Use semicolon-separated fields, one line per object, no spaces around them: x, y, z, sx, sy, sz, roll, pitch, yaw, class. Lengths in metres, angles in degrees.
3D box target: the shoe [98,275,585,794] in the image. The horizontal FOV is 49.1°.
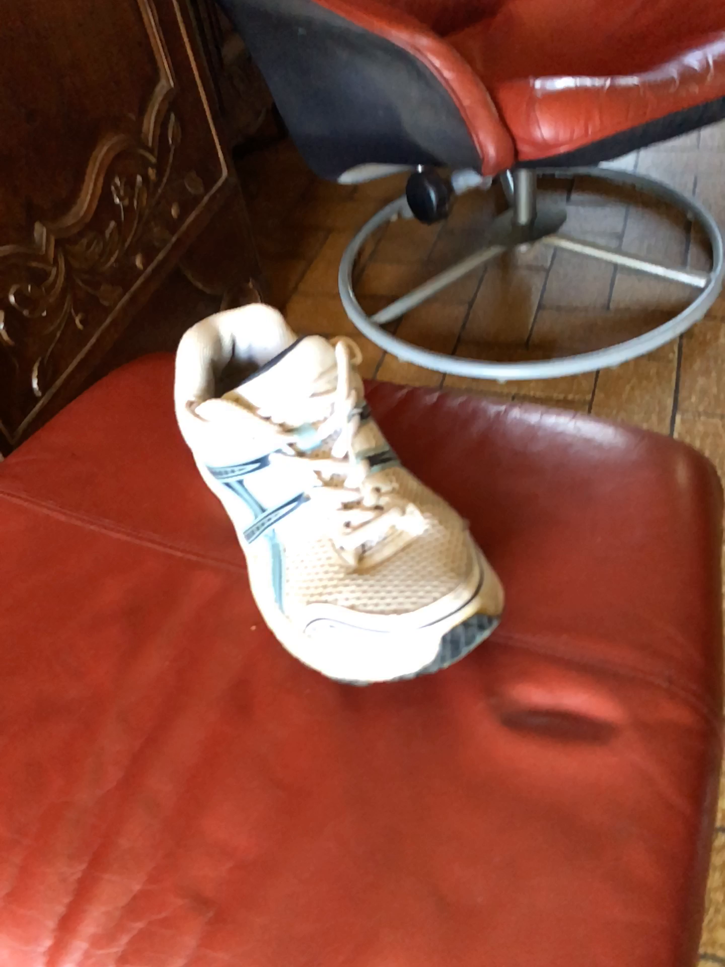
-0.026;0.002;0.416;0.120;0.080;0.271;-29;48;-16;shoe
